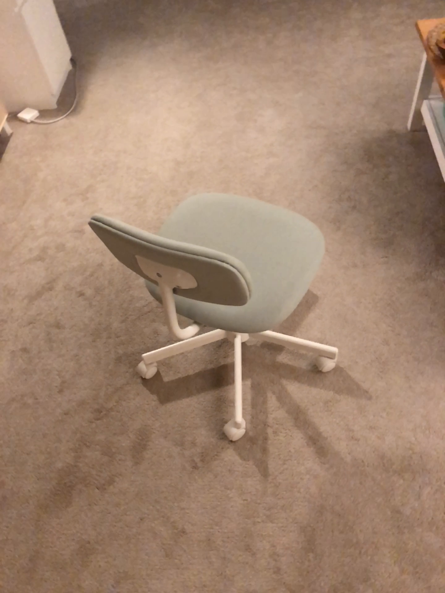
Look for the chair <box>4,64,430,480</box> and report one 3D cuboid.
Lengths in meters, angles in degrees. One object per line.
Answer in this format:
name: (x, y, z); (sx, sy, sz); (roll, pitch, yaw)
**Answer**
chair: (0.033, -0.068, 1.290); (0.661, 0.677, 0.642); (23, 60, 22)
